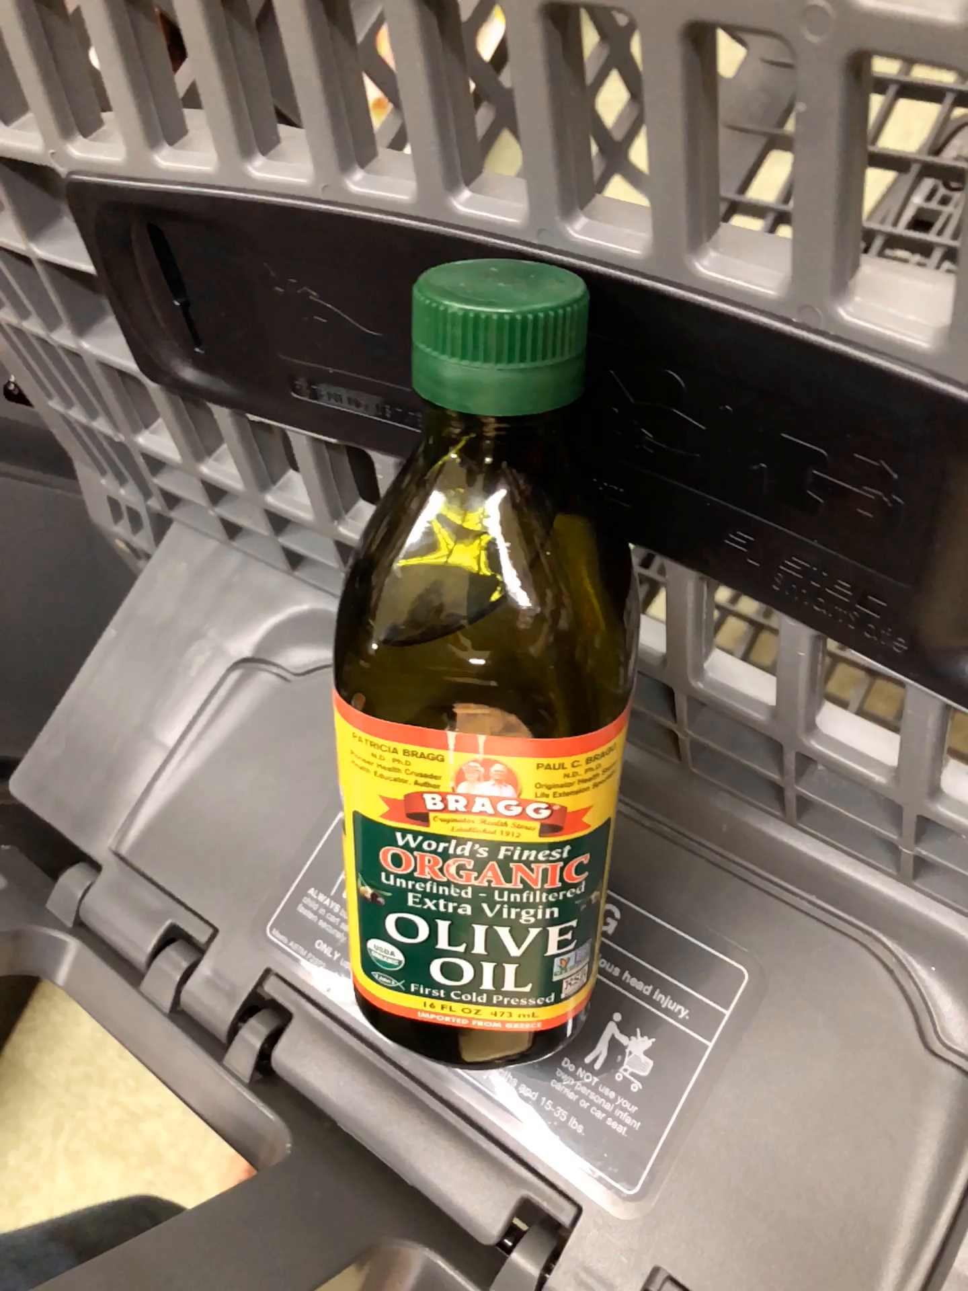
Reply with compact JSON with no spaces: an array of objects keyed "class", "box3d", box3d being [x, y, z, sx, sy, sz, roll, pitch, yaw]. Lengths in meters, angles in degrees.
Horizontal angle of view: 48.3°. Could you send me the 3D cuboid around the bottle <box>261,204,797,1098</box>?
[{"class":"bottle","box3d":[0.006,0.012,0.245,0.080,0.193,0.070,5,36,4]}]
